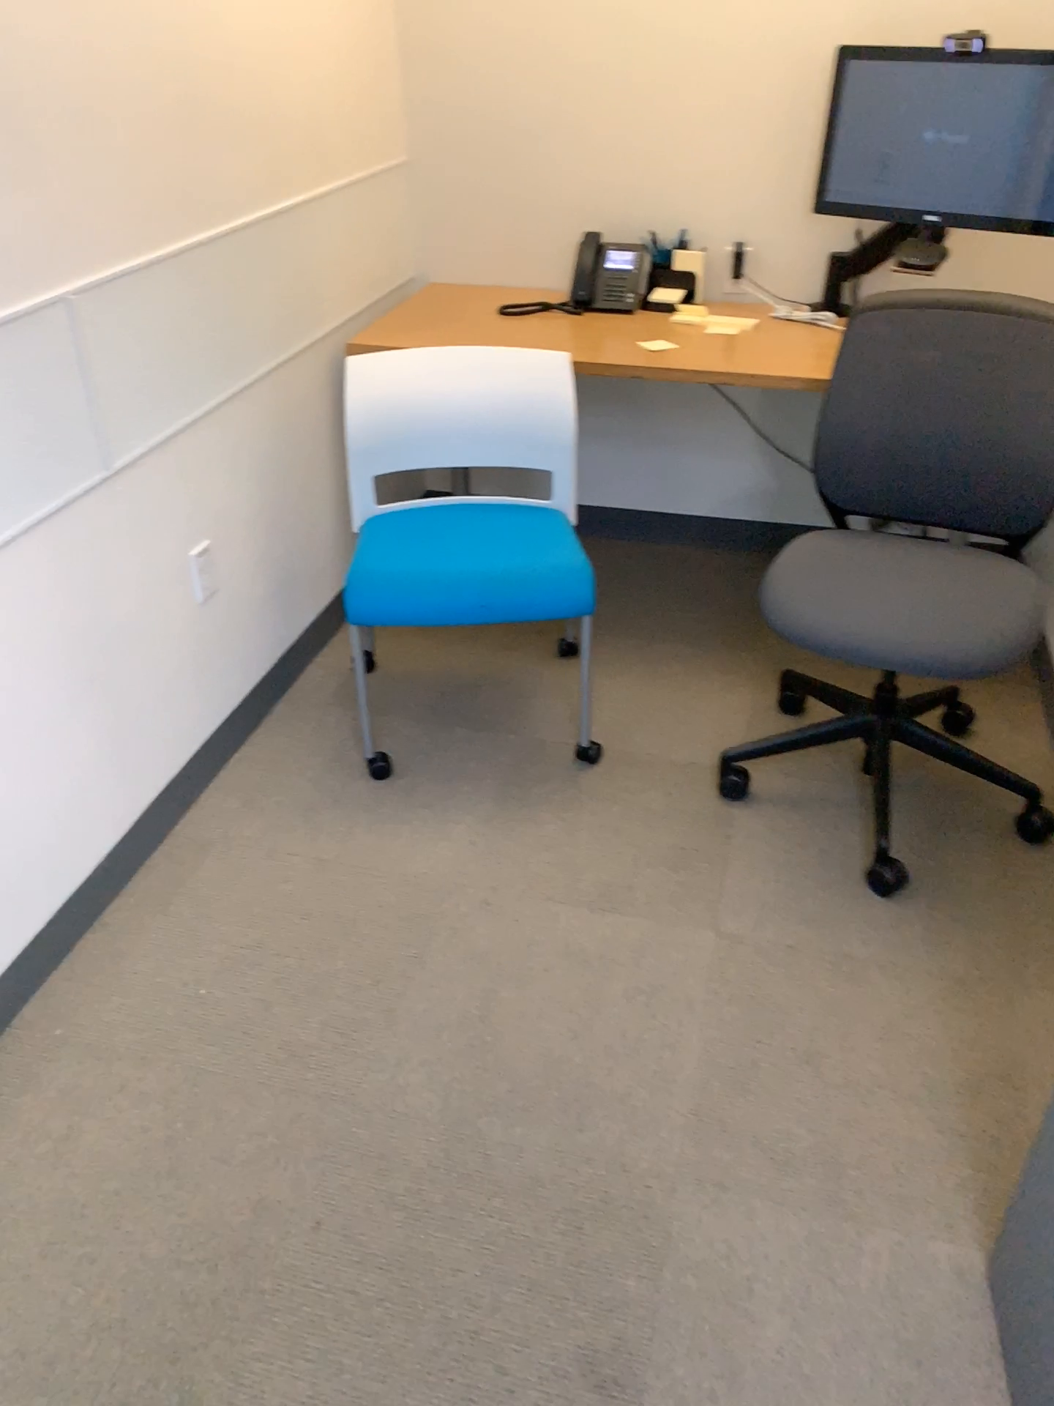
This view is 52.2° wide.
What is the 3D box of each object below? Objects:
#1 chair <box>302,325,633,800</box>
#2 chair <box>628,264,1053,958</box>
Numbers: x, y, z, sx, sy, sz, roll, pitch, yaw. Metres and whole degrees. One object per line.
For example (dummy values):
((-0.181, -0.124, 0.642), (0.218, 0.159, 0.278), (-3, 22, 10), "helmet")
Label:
((-0.119, -0.327, 2.243), (0.530, 0.686, 0.795), (-2, 33, -3), "chair")
((0.764, -0.267, 2.117), (0.752, 0.884, 0.974), (17, 37, 24), "chair")
